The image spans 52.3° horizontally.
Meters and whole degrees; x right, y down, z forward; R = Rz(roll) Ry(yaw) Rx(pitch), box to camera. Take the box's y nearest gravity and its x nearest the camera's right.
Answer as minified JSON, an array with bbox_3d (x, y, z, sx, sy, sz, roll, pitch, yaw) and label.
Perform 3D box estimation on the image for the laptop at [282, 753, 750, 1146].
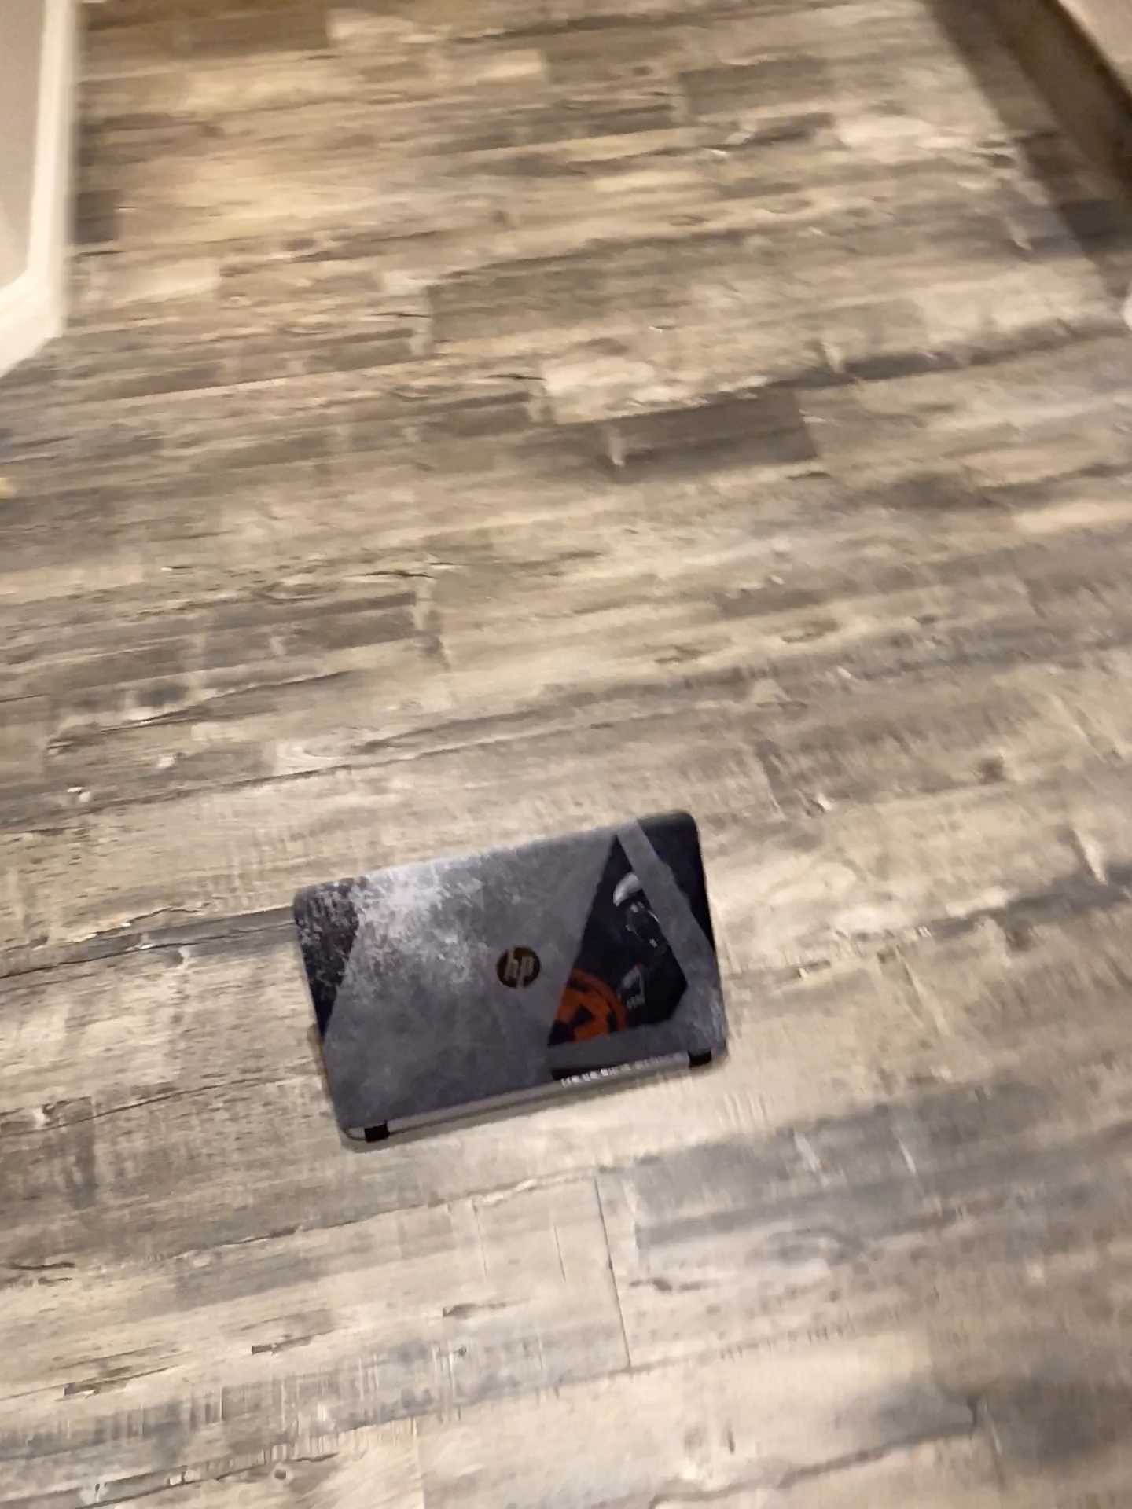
[{"bbox_3d":[-0.053,0.184,1.097,0.374,0.177,0.251,-11,59,-6],"label":"laptop"}]
